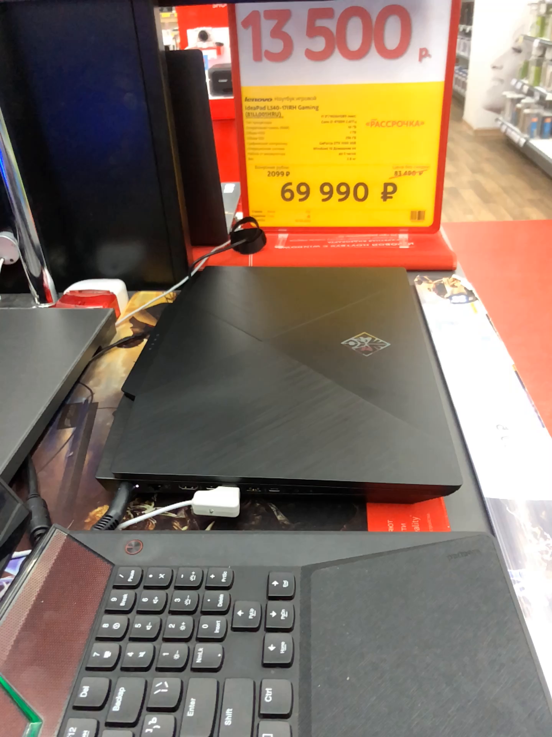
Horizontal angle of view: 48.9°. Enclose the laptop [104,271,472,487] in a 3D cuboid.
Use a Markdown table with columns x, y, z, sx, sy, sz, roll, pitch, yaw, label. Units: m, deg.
| x | y | z | sx | sy | sz | roll | pitch | yaw | label |
| --- | --- | --- | --- | --- | --- | --- | --- | --- | --- |
| 0.019 | -0.018 | 0.602 | 0.261 | 0.002 | 0.400 | 0 | 30 | 4 | laptop |
